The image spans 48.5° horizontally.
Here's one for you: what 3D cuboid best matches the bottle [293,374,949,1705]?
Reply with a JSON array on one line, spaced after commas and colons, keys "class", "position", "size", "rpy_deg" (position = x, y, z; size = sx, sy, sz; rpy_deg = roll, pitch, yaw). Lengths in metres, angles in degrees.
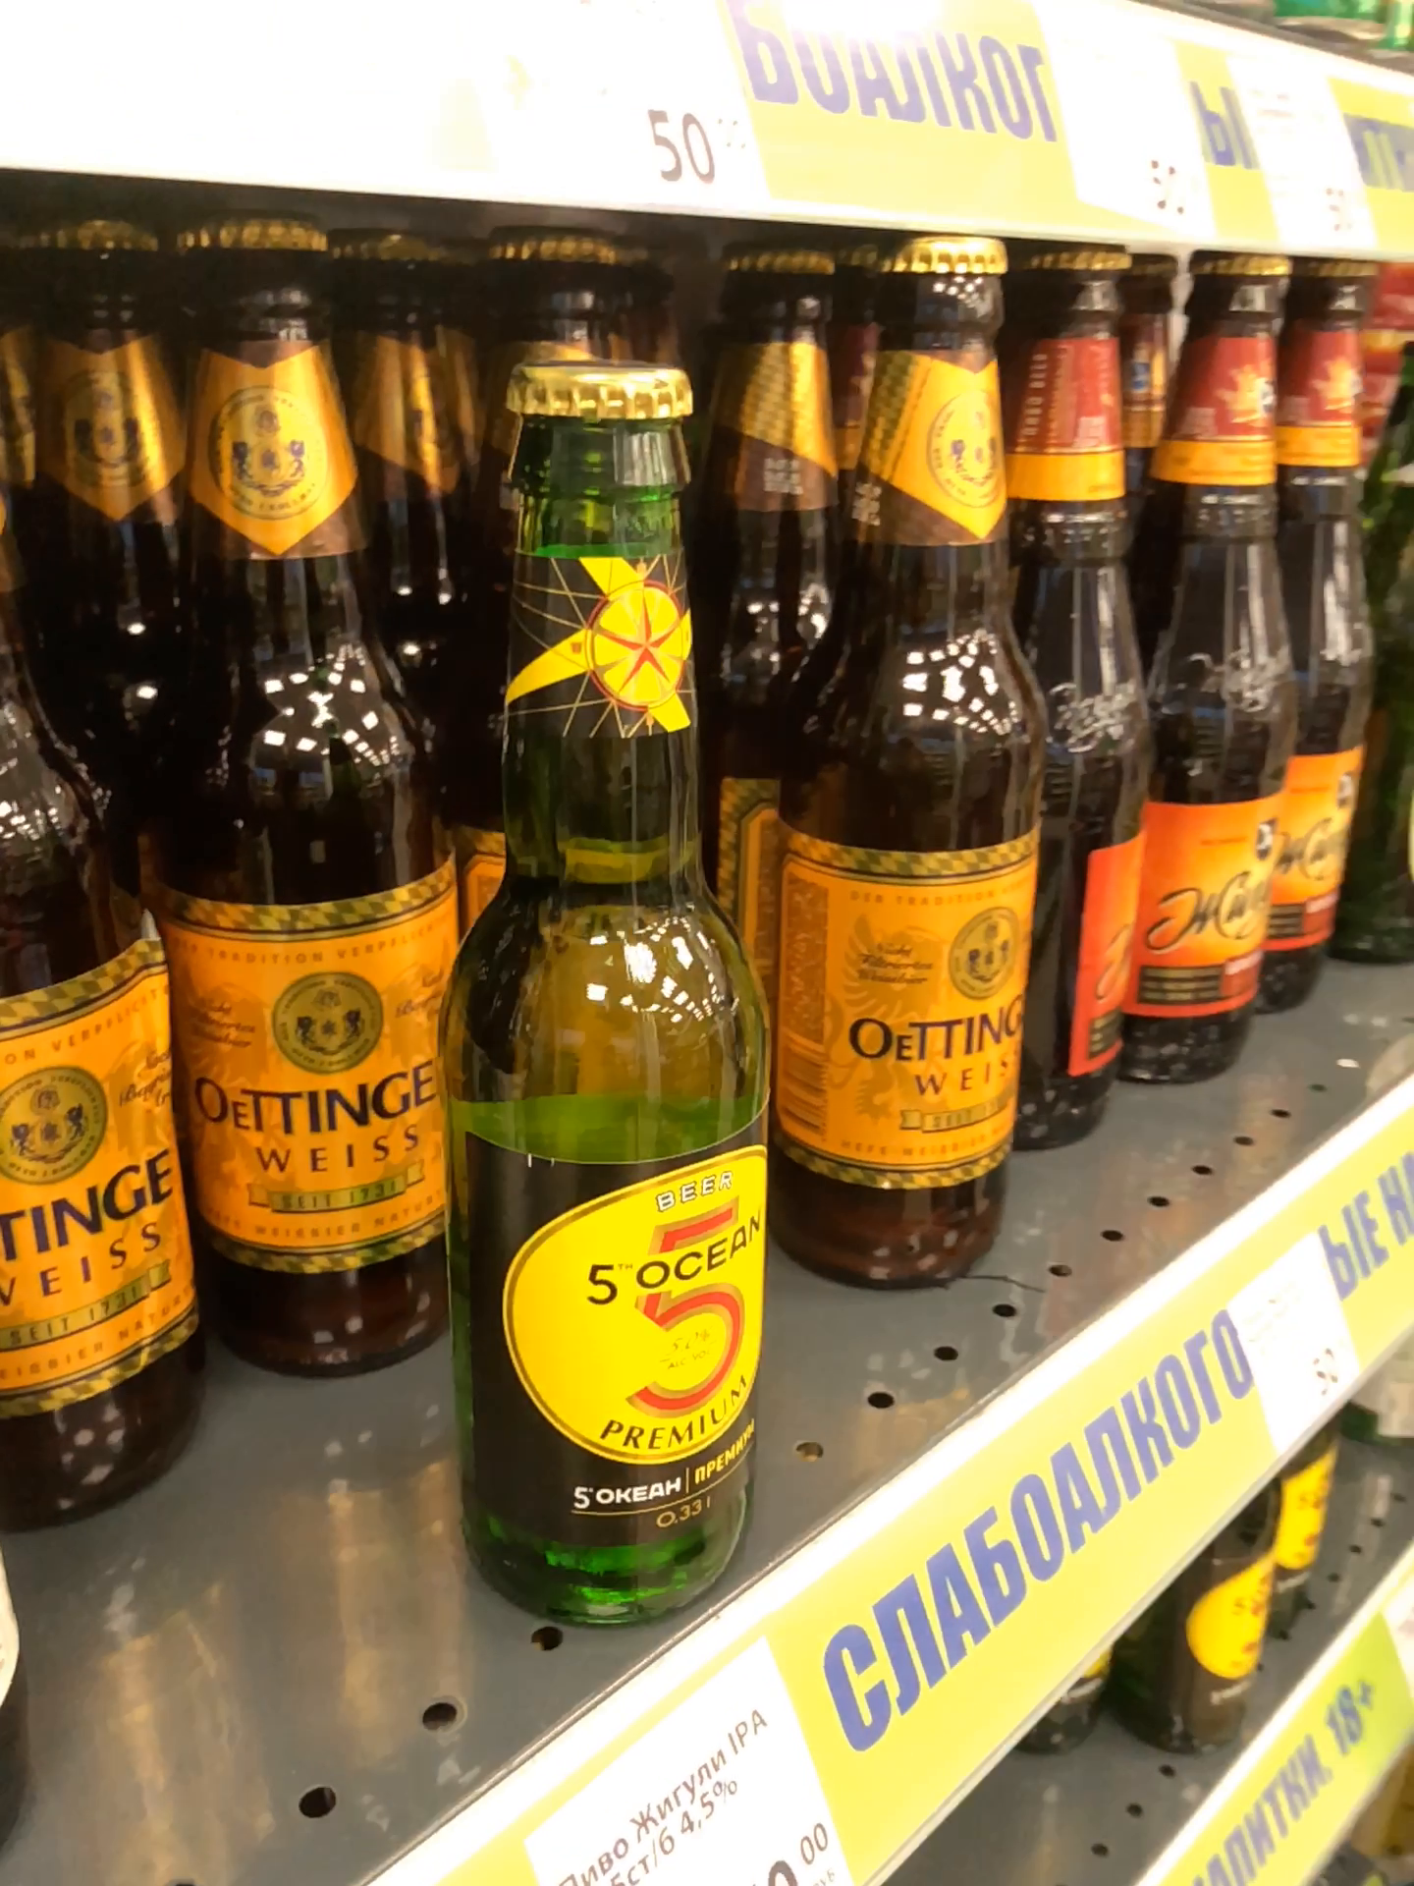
[{"class": "bottle", "position": [-0.017, 0.015, 0.275], "size": [0.070, 0.210, 0.070], "rpy_deg": [2, 23, -1]}]
